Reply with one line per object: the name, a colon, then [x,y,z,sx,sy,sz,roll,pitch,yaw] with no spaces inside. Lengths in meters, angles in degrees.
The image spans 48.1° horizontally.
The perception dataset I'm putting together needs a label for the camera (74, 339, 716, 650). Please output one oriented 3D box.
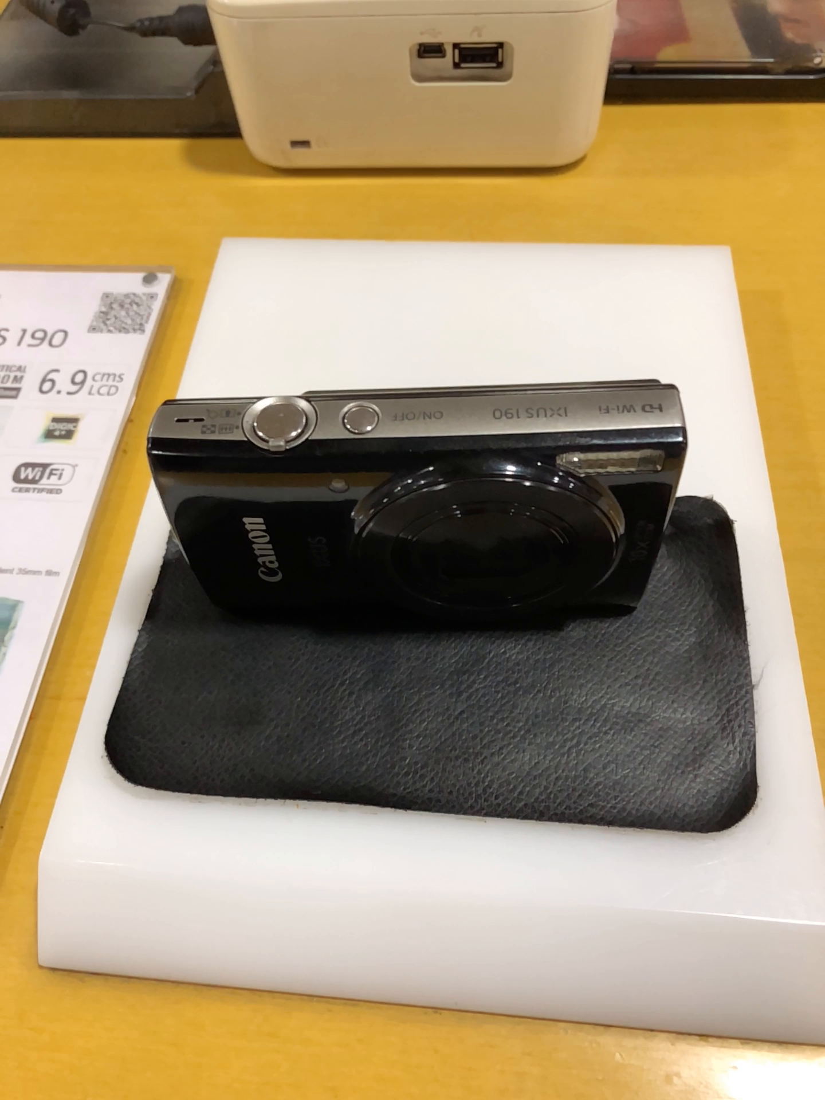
camera: [-0.002,-0.008,0.173,0.100,0.050,0.030,-2,56,2]
